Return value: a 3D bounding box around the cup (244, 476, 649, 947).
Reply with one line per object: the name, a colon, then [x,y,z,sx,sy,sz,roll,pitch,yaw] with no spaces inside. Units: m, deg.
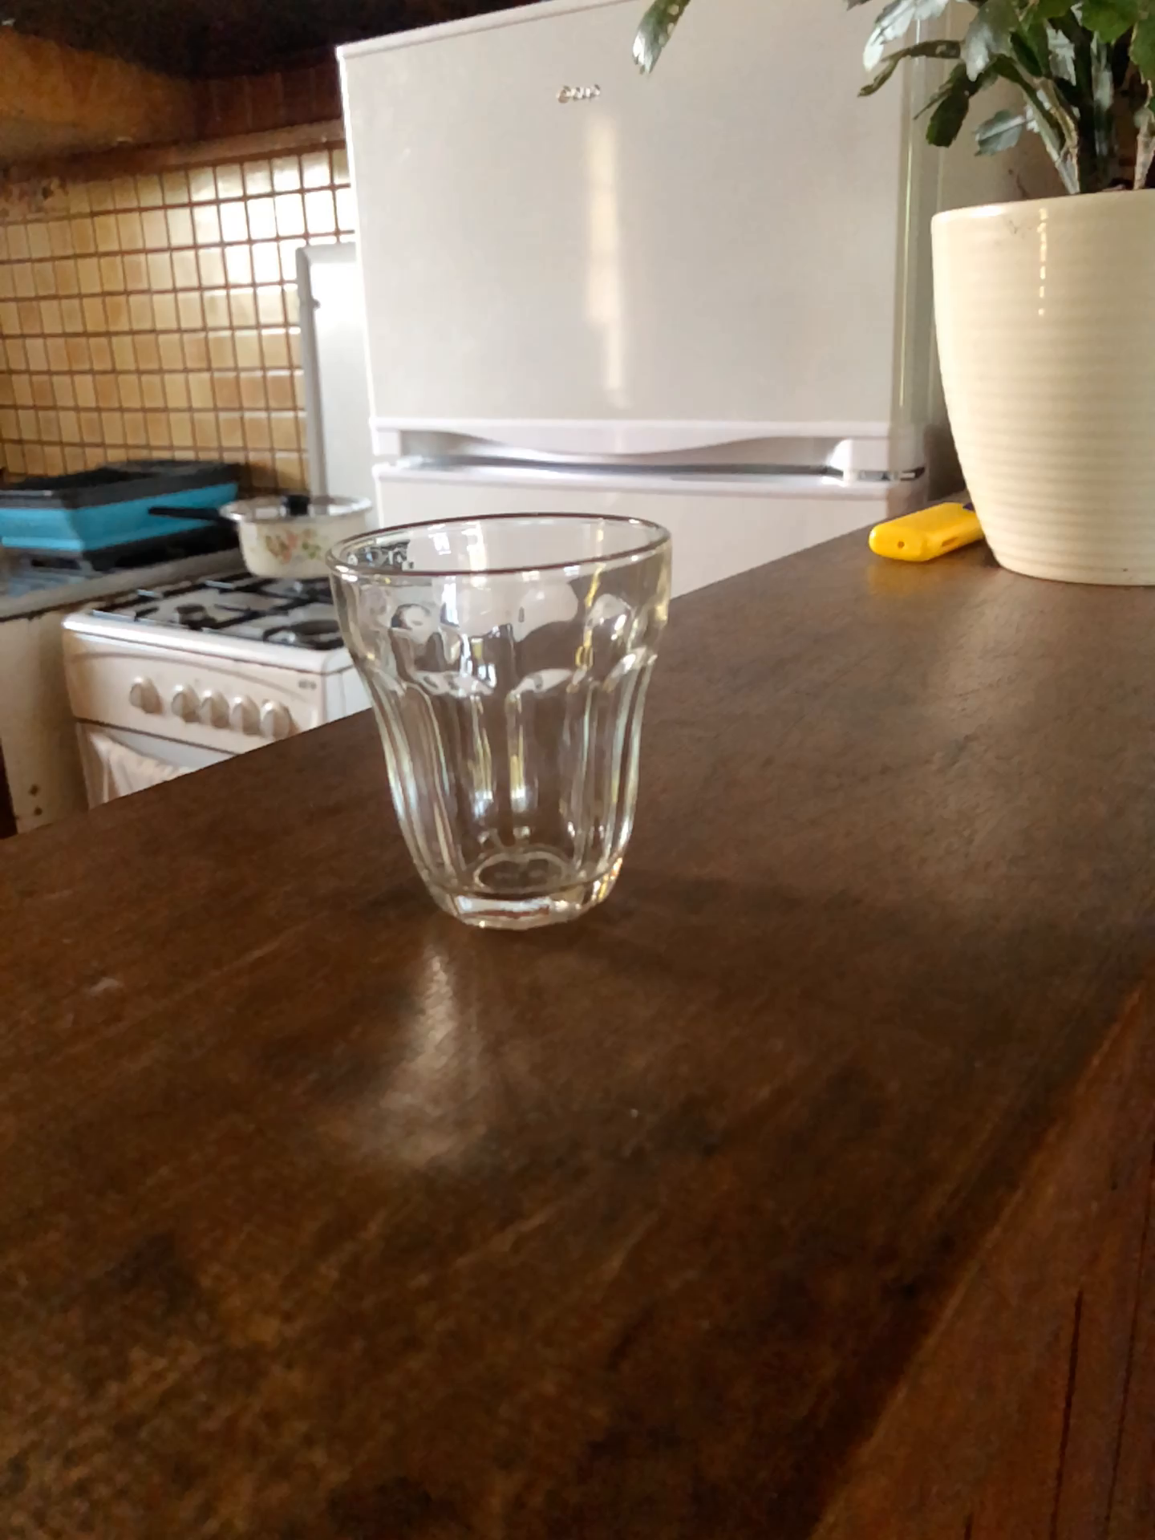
cup: [-0.021,-0.017,0.274,0.070,0.080,0.080,-1,19,3]
